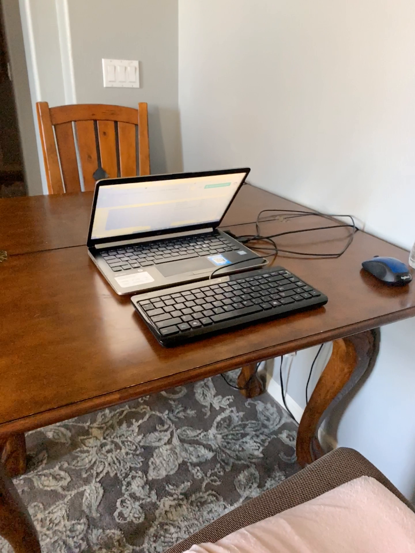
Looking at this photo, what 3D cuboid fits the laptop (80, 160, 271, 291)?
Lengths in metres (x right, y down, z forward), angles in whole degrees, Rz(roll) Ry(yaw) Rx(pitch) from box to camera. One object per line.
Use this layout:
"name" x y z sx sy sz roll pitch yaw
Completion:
"laptop" -0.065 -0.116 0.827 0.303 0.157 0.199 -11 29 -25
